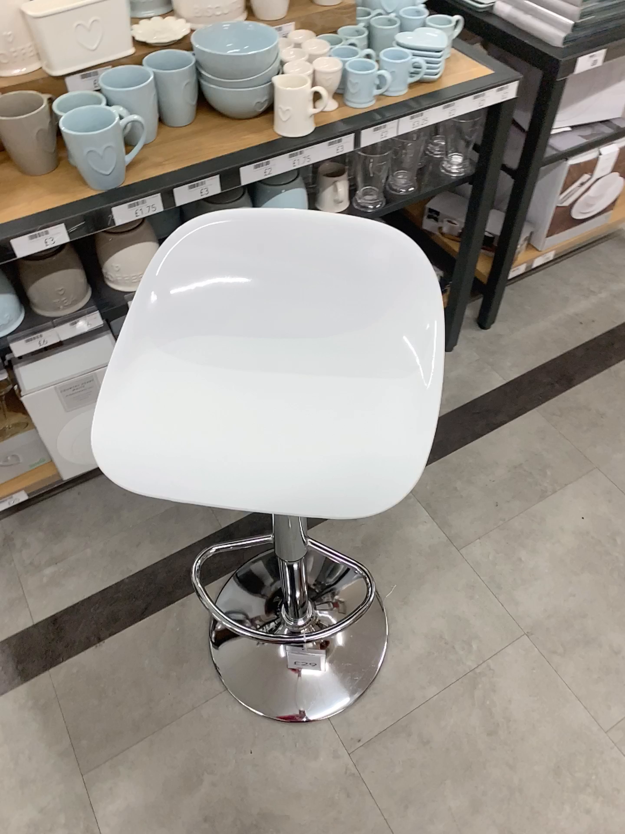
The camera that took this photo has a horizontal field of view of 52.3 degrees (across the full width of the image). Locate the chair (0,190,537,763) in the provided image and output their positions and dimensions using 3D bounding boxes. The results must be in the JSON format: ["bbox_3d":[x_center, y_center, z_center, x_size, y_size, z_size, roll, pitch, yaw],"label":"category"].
[{"bbox_3d":[-0.022,0.168,0.952,0.454,0.826,0.424,7,53,6],"label":"chair"}]
